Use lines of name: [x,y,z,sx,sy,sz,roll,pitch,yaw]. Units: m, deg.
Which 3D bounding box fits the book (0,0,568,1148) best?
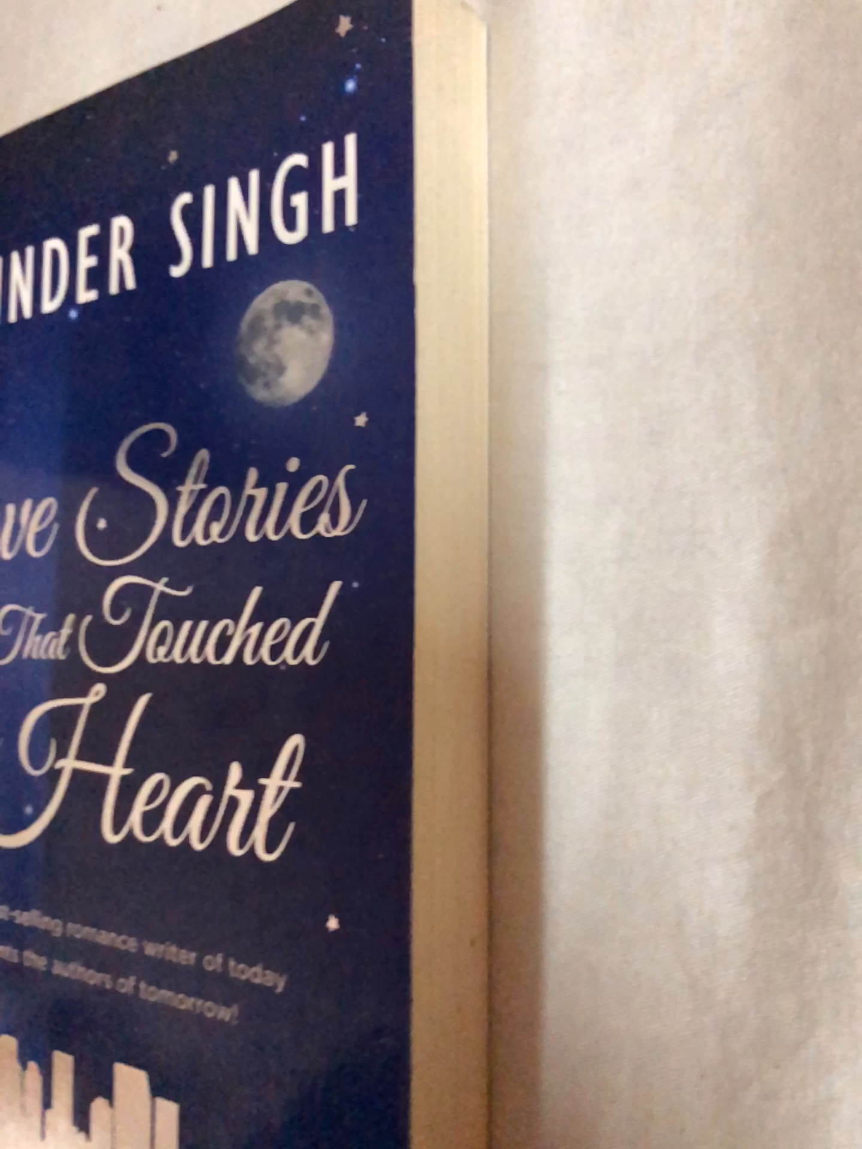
book: [-0.044,0.025,0.173,0.130,0.030,0.210,0,87,35]
